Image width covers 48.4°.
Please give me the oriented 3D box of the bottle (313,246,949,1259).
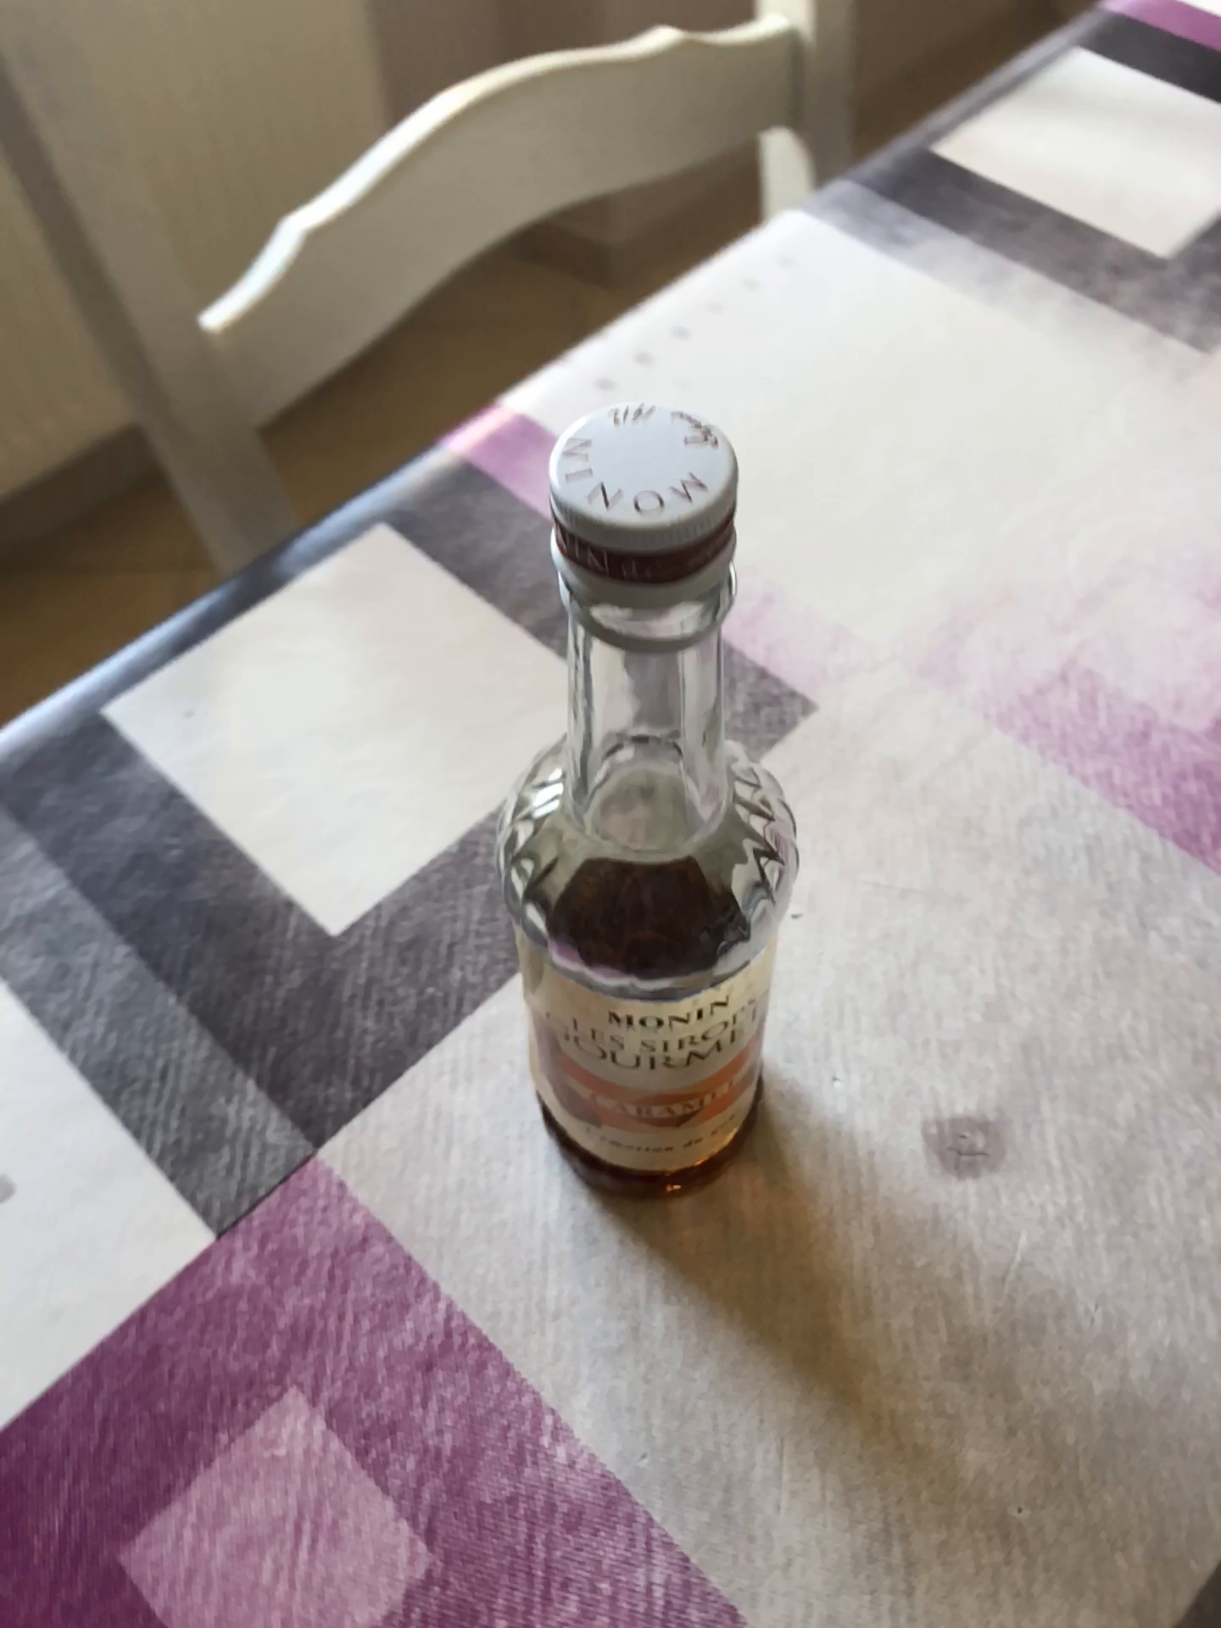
[{"bbox_3d":[0.005,0.014,0.292,0.070,0.239,0.070,-1,55,2],"label":"bottle"}]
